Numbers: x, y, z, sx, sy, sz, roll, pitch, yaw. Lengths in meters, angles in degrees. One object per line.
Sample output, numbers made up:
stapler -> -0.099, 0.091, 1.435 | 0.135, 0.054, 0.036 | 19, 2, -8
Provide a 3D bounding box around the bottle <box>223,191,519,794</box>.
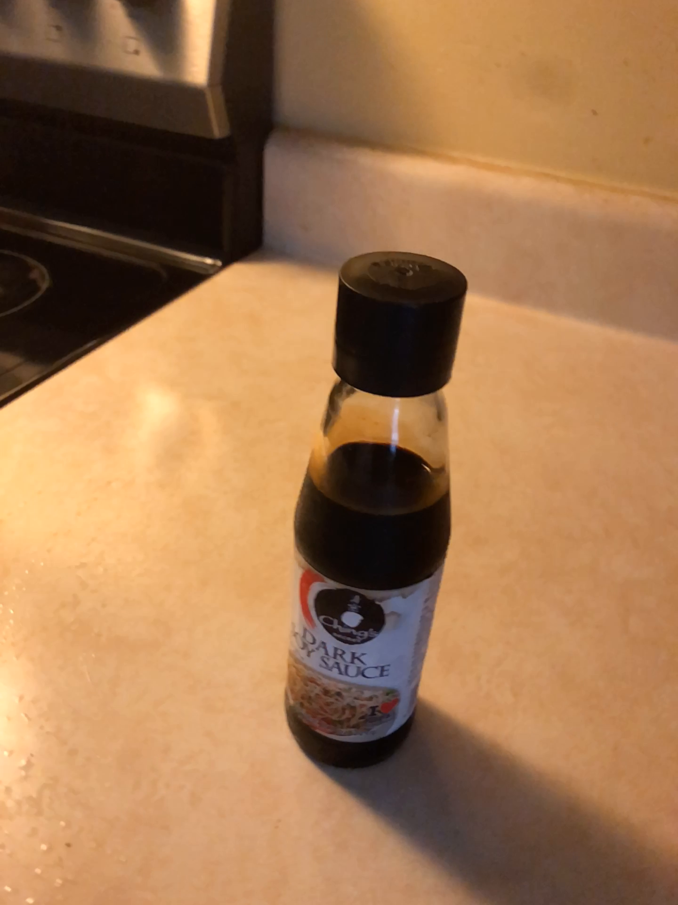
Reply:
bottle -> 0.006, 0.021, 0.240 | 0.060, 0.179, 0.060 | 3, 35, -2
